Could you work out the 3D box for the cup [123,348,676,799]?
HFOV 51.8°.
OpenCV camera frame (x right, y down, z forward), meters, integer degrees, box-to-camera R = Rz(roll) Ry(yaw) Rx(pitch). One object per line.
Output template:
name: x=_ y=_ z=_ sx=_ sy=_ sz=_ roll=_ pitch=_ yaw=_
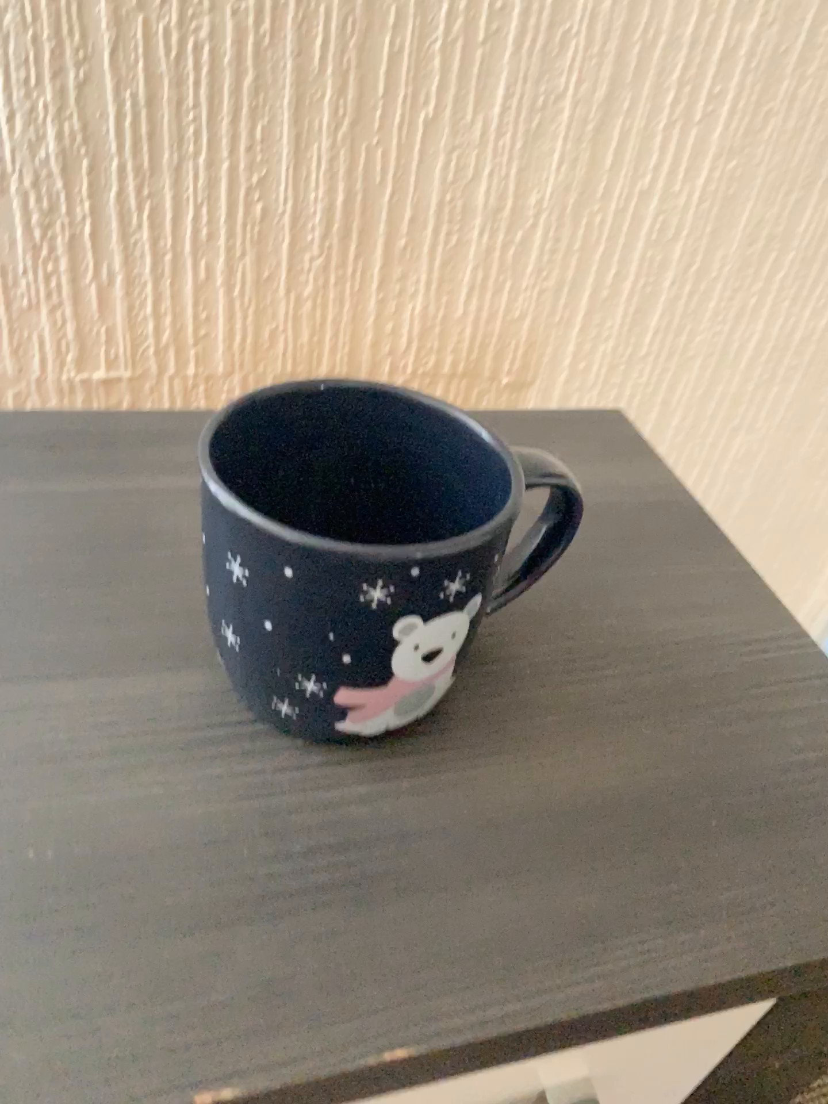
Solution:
cup: x=-0.011 y=-0.004 z=0.268 sx=0.130 sy=0.069 sz=0.101 roll=-12 pitch=44 yaw=-27
